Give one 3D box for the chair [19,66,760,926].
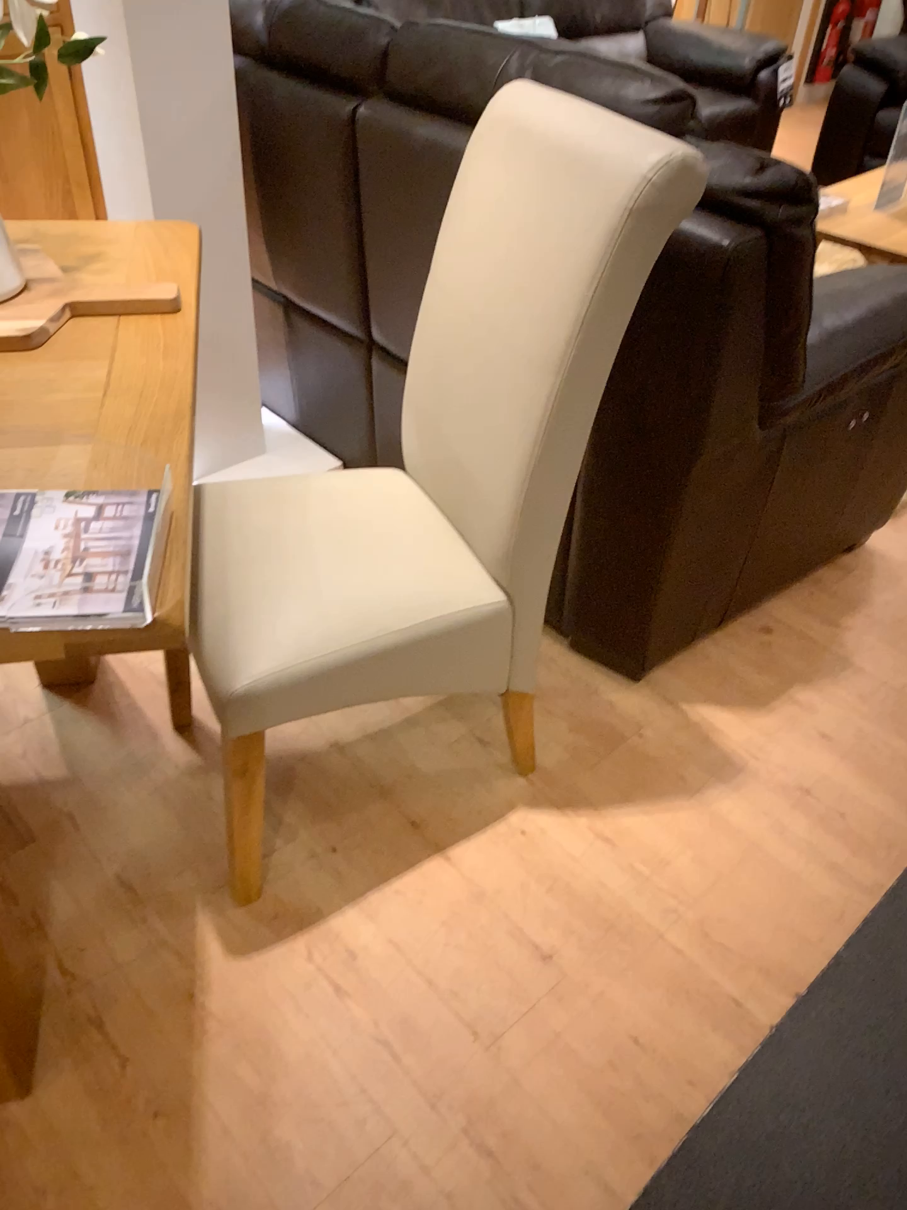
[{"bbox_3d":[-0.107,-0.141,1.258,0.635,0.943,0.479,-16,43,-22],"label":"chair"}]
